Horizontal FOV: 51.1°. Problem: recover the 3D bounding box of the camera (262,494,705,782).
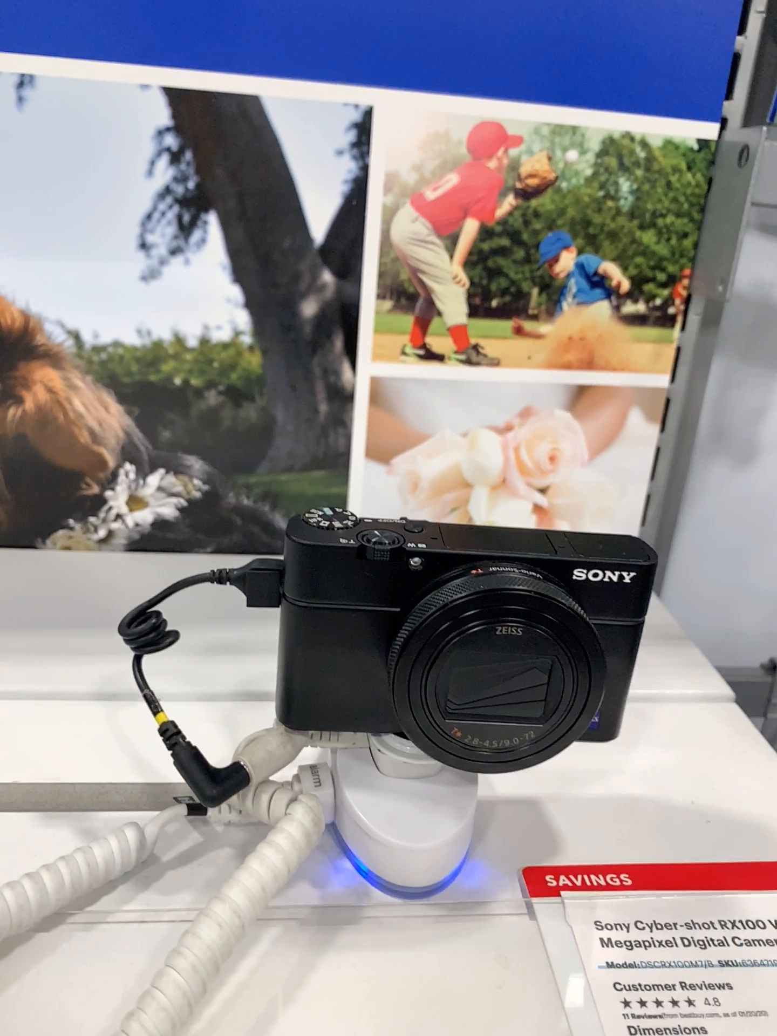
[{"bbox_3d":[0.021,0.032,0.223,0.105,0.060,0.043,4,20,-5],"label":"camera"}]
